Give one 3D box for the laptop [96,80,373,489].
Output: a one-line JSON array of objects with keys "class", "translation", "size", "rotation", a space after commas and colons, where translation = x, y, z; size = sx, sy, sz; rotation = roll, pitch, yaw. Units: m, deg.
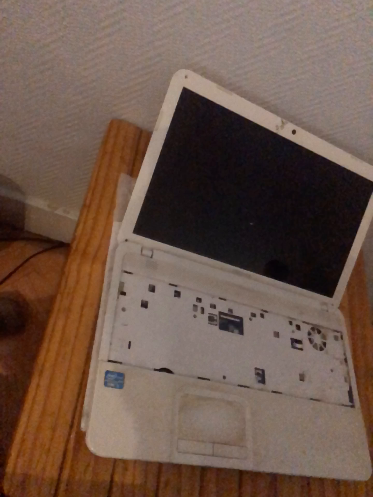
[{"class": "laptop", "translation": [0.119, 0.043, 0.516], "size": [0.372, 0.118, 0.419], "rotation": [19, 54, -22]}]
